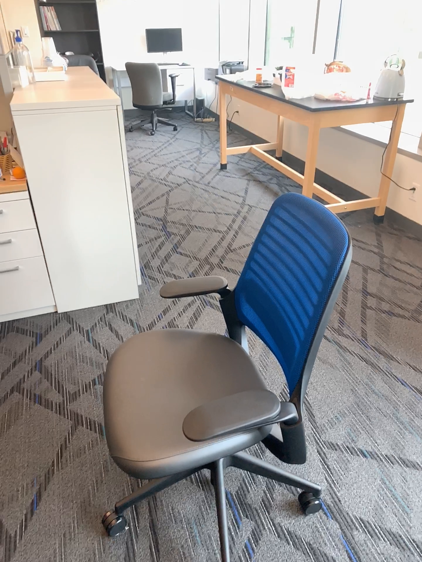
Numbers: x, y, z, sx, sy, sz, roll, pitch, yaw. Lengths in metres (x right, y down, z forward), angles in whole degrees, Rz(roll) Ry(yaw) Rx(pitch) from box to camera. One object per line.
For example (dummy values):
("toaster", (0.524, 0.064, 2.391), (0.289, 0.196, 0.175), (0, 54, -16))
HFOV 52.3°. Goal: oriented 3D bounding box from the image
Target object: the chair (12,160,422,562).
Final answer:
("chair", (-0.025, 0.249, 1.134), (0.681, 0.882, 0.705), (-10, 32, -15))
